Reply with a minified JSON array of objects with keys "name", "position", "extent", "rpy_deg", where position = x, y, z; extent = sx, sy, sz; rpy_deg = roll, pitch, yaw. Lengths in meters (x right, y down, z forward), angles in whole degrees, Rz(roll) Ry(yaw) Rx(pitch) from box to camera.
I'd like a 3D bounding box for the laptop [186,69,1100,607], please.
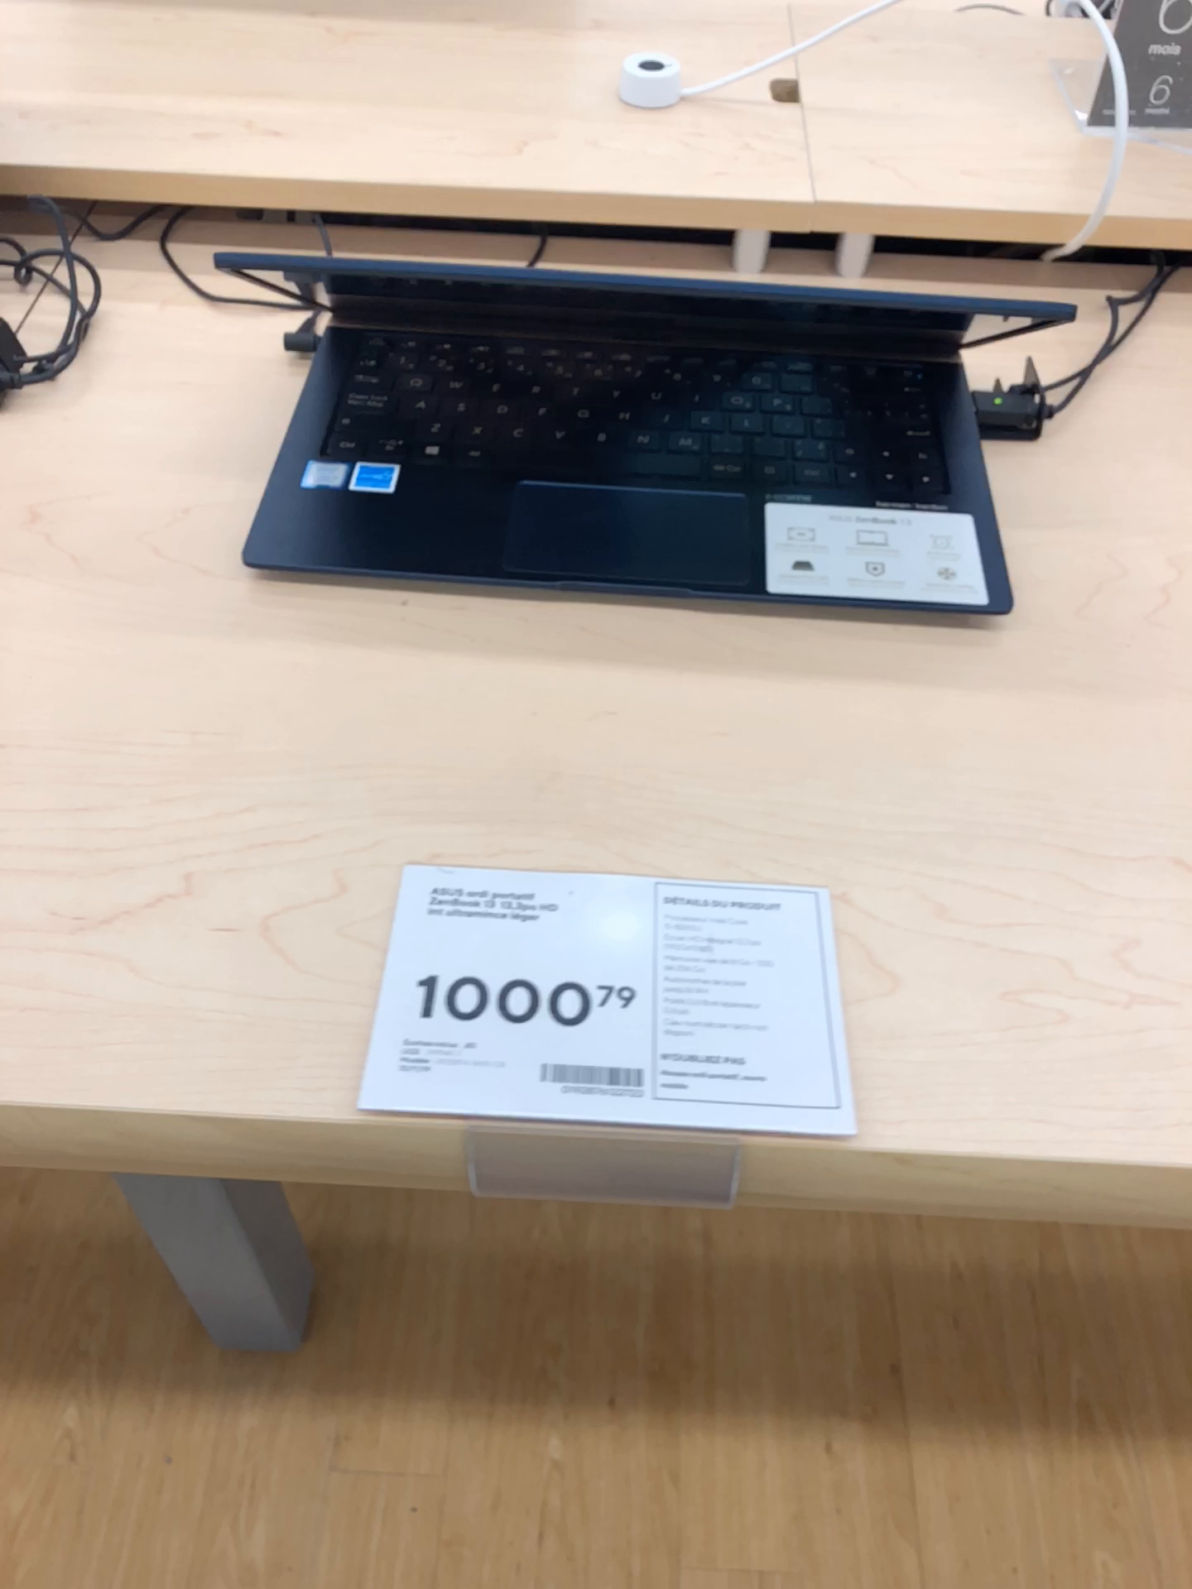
[{"name":"laptop","position":[0.019,-0.191,0.536],"extent":[0.299,0.107,0.197],"rpy_deg":[4,49,1]}]
